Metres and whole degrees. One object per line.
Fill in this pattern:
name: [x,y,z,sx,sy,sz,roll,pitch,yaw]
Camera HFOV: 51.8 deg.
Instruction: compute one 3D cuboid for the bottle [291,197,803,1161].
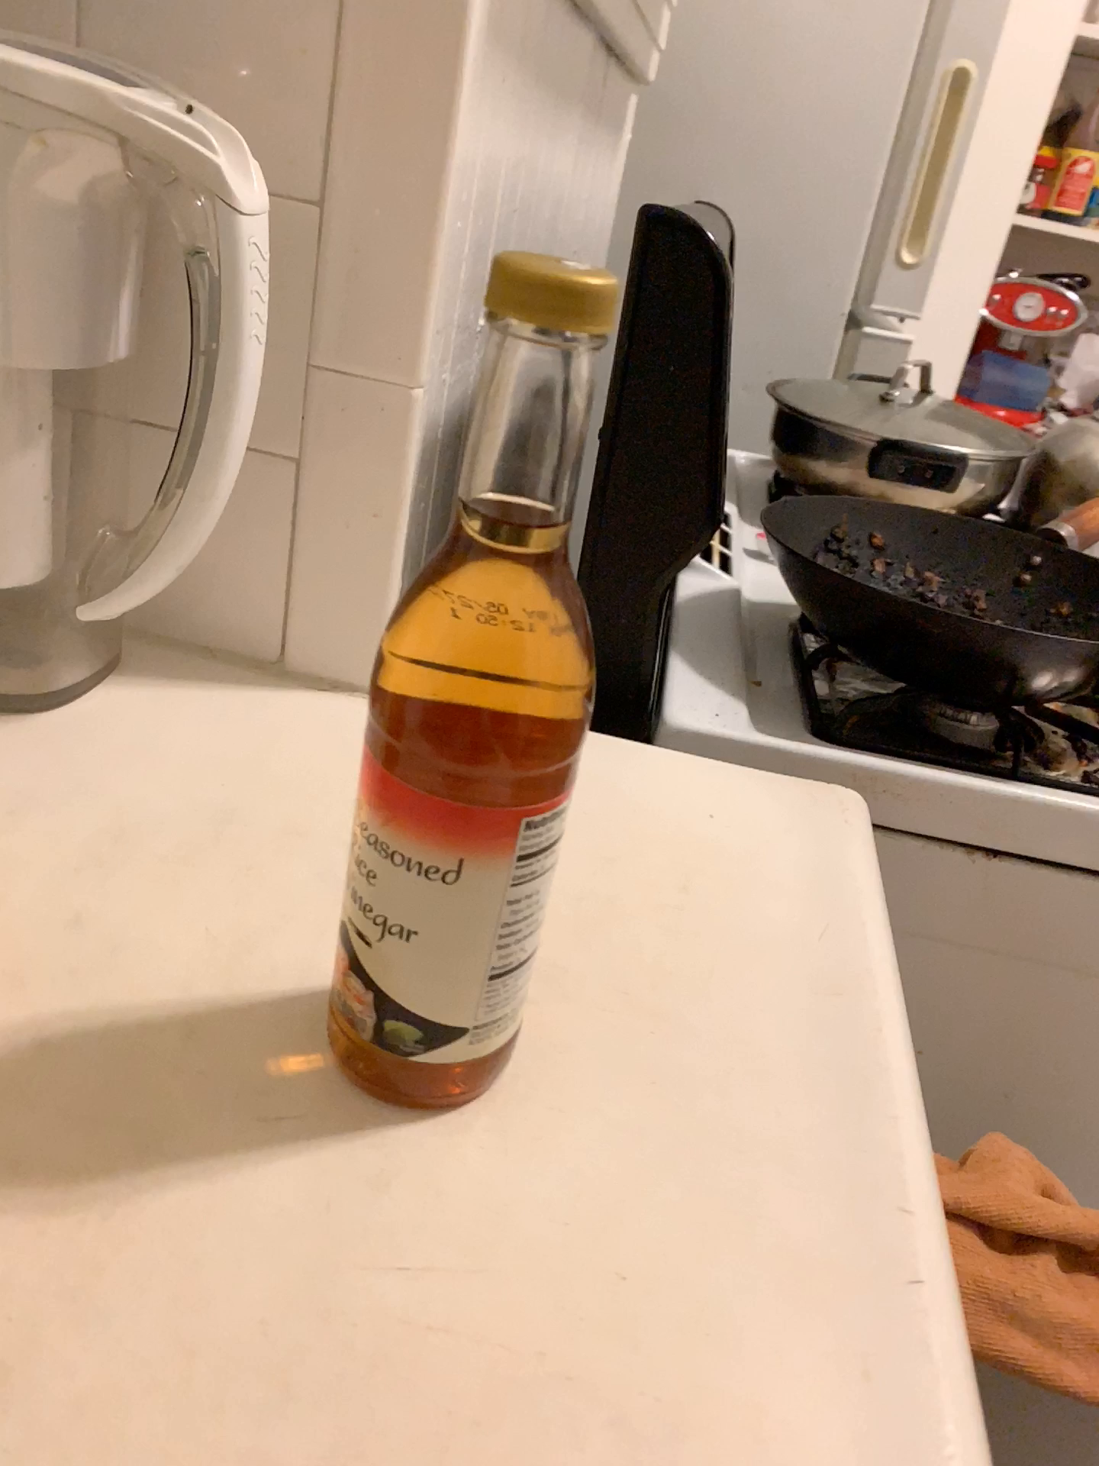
bottle: [-0.010,-0.007,0.309,0.070,0.239,0.070,9,27,-5]
